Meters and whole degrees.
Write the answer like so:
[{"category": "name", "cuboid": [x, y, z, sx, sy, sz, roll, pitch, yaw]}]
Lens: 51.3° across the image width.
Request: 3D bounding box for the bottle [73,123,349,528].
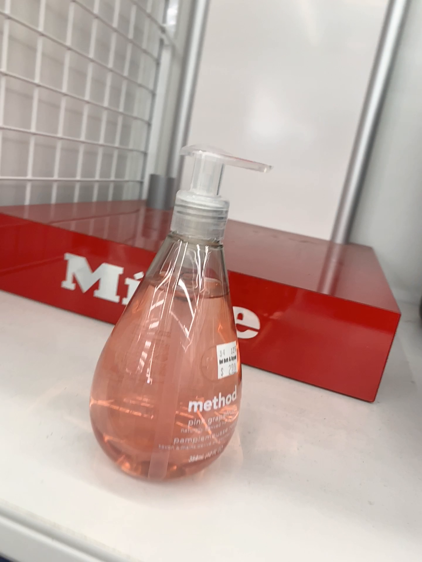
[{"category": "bottle", "cuboid": [-0.007, 0.014, 0.219, 0.080, 0.160, 0.078, 10, 14, -3]}]
